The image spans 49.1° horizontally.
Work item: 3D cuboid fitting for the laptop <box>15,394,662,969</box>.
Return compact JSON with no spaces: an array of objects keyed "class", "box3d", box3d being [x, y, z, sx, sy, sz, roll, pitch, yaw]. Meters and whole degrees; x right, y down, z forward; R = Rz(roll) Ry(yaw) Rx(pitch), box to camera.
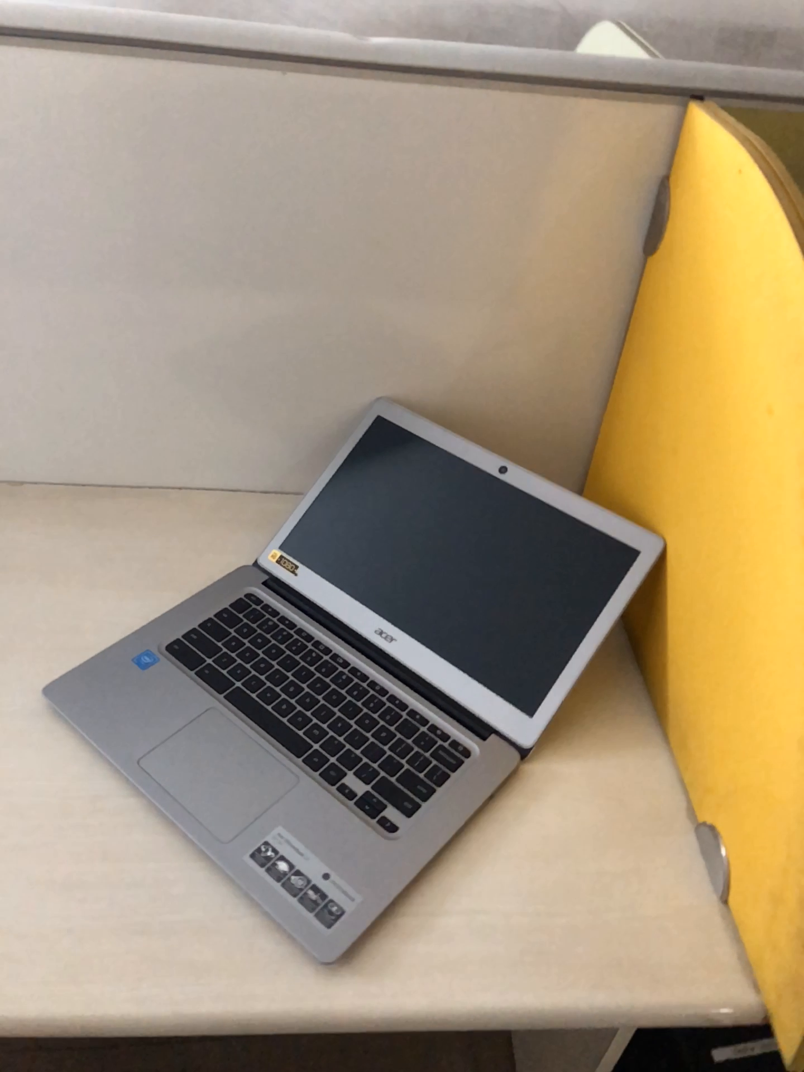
[{"class":"laptop","box3d":[-0.038,0.070,0.739,0.320,0.123,0.410,31,46,28]}]
